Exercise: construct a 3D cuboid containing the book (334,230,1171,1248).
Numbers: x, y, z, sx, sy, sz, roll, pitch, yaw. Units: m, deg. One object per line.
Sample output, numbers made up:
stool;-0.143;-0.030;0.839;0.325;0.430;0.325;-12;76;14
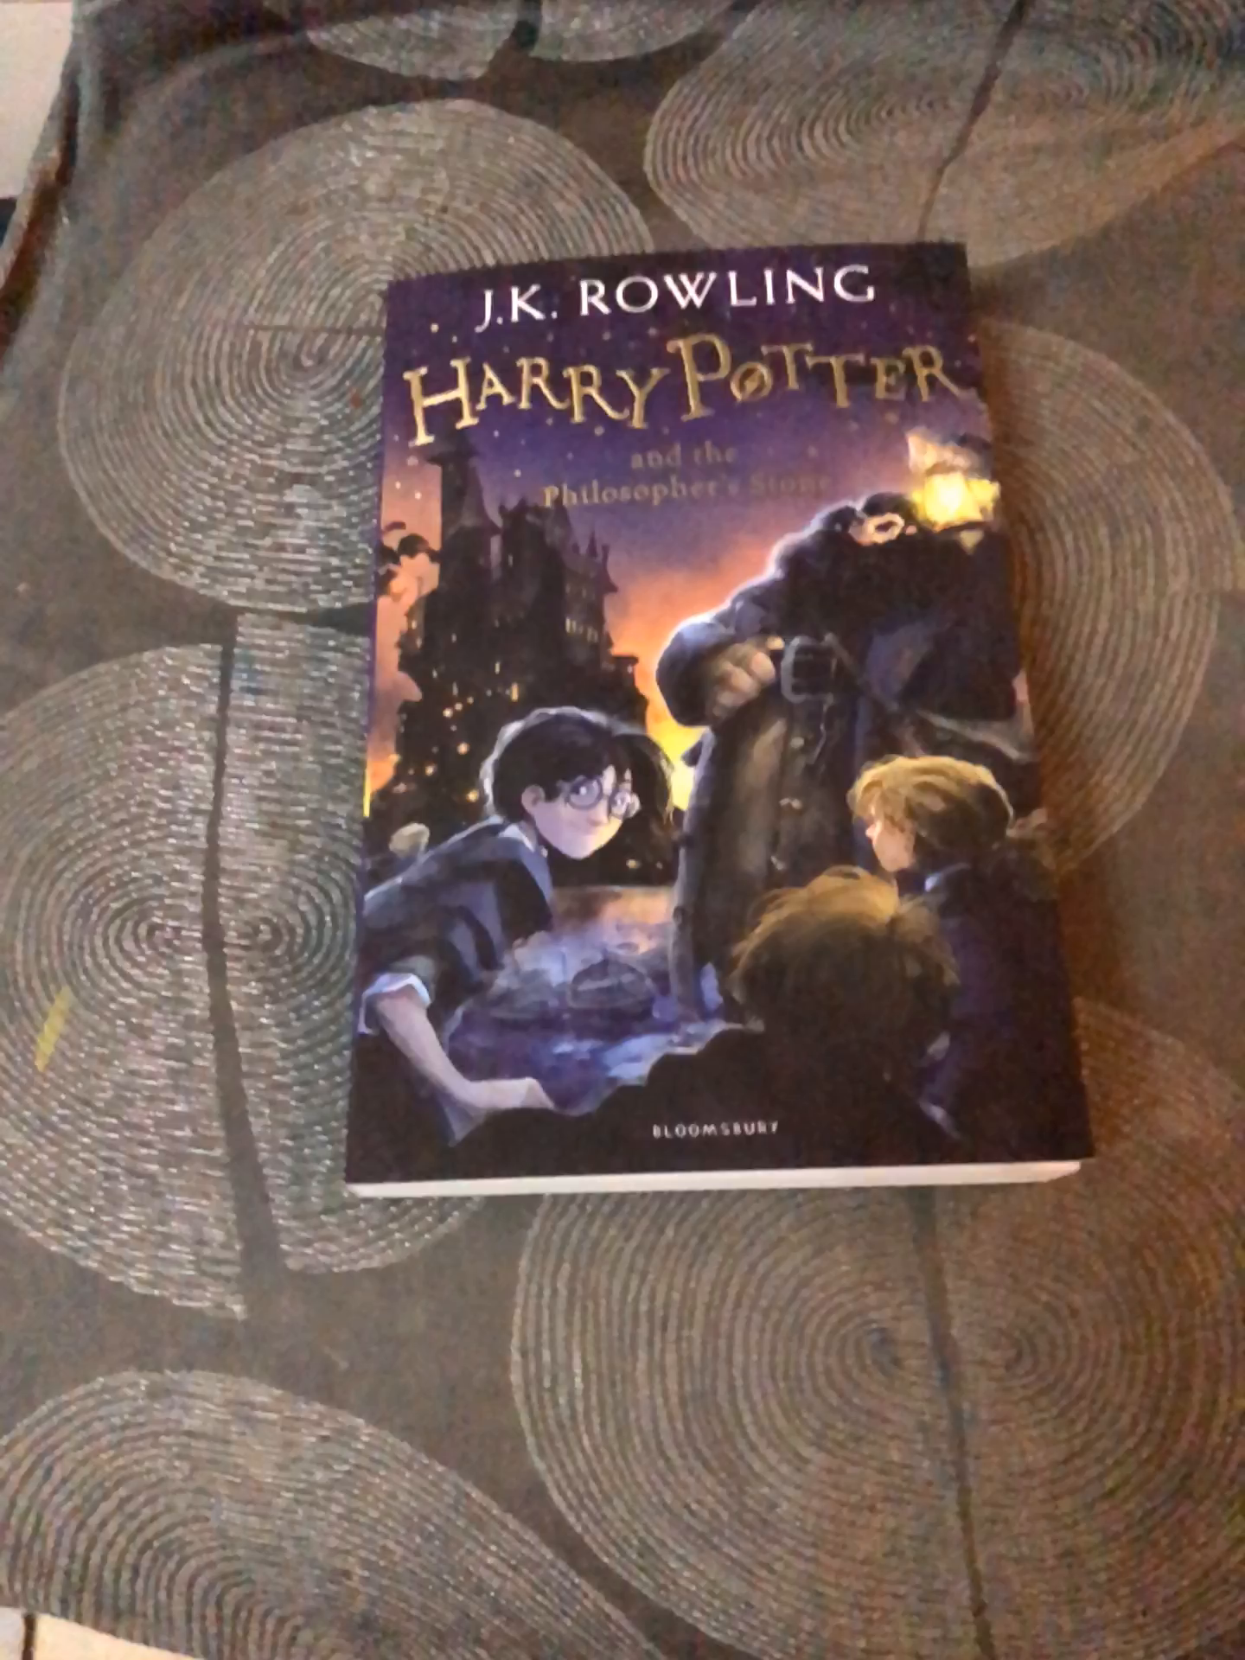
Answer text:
book;0.017;-0.027;0.285;0.140;0.040;0.210;-1;69;-3
